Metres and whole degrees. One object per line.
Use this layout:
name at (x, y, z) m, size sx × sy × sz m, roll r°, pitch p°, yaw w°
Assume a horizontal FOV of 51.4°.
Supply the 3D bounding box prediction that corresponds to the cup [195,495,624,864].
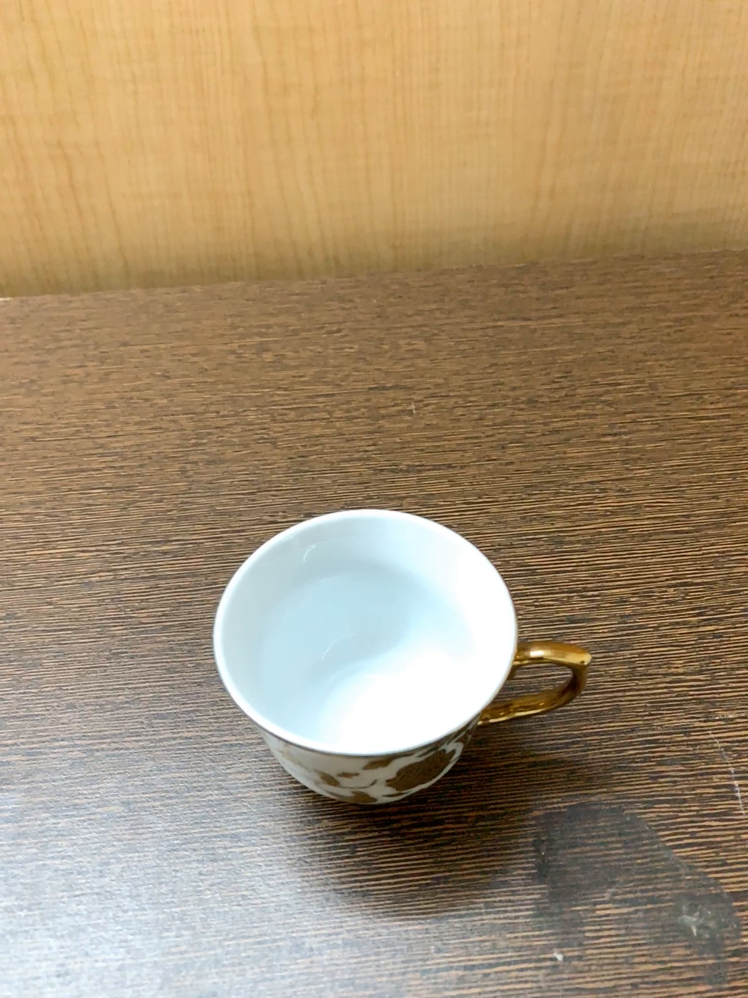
cup at (0.007, 0.042, 0.188) m, size 0.080 × 0.050 × 0.071 m, roll -1°, pitch 44°, yaw 1°

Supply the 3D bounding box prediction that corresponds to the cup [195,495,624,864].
cup at (0.007, 0.042, 0.188) m, size 0.080 × 0.050 × 0.071 m, roll -1°, pitch 44°, yaw 1°
